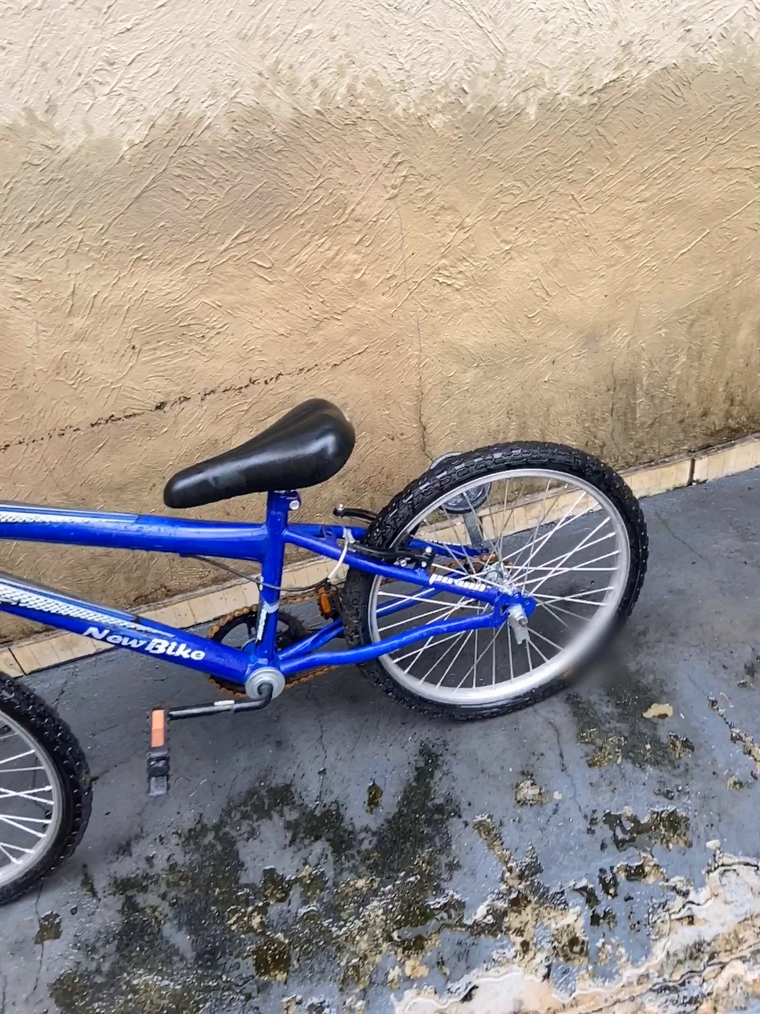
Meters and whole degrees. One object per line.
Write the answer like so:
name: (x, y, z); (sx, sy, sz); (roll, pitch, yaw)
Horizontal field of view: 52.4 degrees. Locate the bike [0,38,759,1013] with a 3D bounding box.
bike: (-0.270, 0.008, 0.986); (1.249, 0.849, 0.545); (-15, 39, -8)
